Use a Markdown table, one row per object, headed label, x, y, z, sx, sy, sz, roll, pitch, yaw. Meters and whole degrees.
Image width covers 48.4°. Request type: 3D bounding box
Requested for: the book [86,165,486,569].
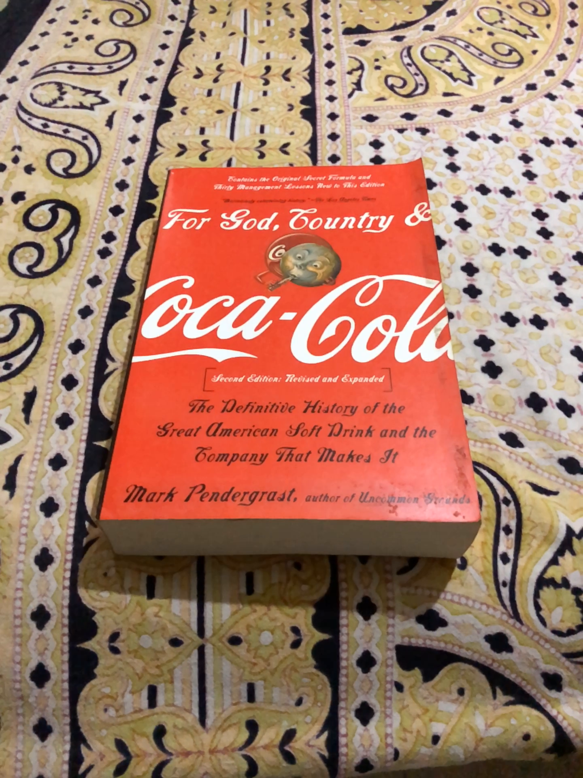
| label | x | y | z | sx | sy | sz | roll | pitch | yaw |
| --- | --- | --- | --- | --- | --- | --- | --- | --- | --- |
| book | -0.001 | -0.025 | 0.347 | 0.160 | 0.050 | 0.231 | 0 | 55 | 1 |
